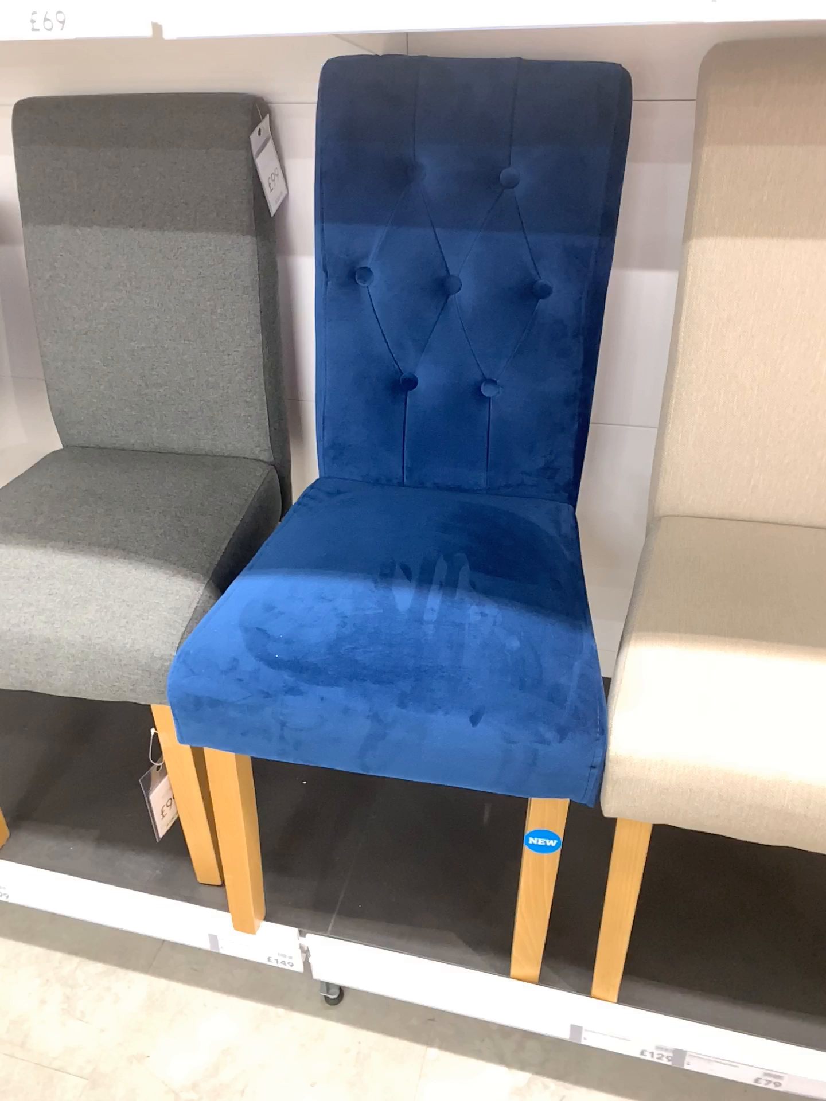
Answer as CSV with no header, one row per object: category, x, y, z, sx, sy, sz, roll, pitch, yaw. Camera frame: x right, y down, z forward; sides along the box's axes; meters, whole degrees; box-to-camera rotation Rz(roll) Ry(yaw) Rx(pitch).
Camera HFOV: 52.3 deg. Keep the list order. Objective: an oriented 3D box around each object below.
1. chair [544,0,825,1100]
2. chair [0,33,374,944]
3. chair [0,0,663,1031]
chair,0.468,-0.023,0.983,0.489,1.035,0.672,6,28,13
chair,-0.402,-0.118,1.214,0.489,1.025,0.672,6,28,13
chair,0.005,-0.072,1.099,0.489,1.035,0.672,6,28,13
